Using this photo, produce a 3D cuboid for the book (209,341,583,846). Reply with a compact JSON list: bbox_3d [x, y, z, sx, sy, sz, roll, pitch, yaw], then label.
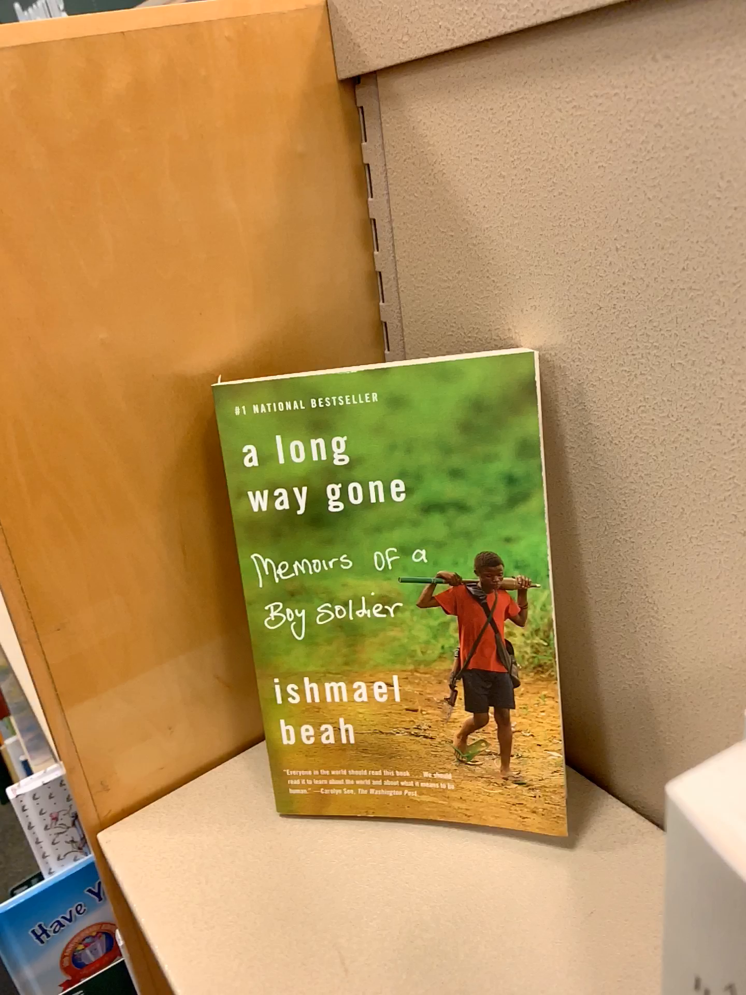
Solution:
[{"bbox_3d":[0.012,0.046,0.335,0.140,0.209,0.020,-3,12,18],"label":"book"}]
